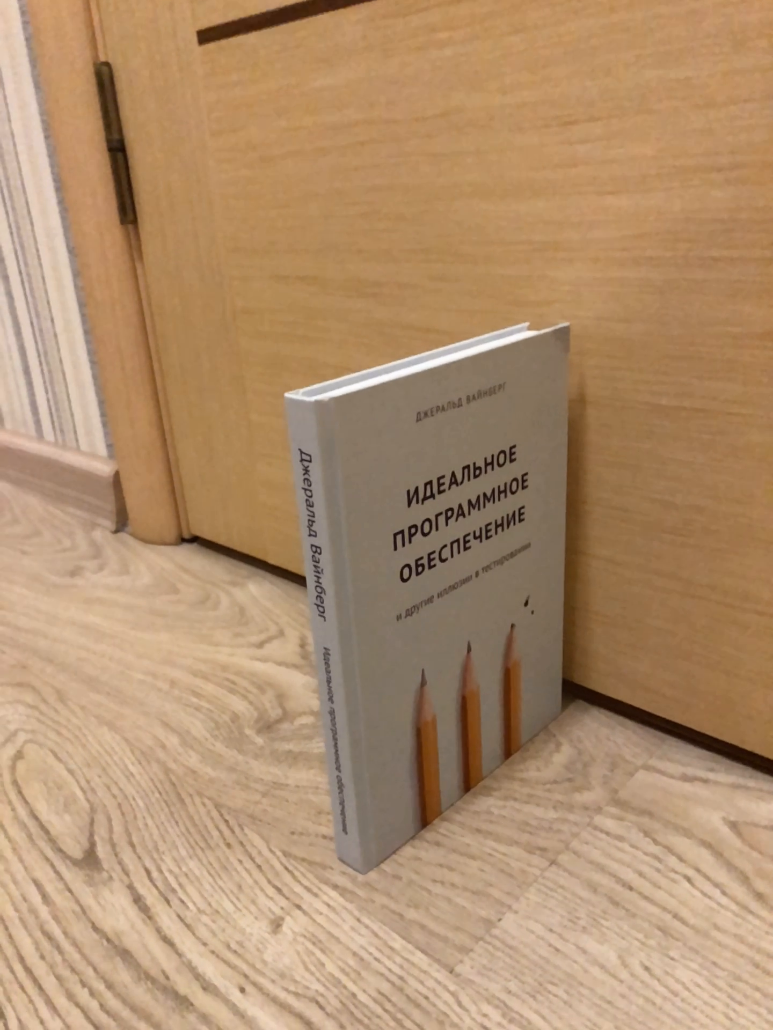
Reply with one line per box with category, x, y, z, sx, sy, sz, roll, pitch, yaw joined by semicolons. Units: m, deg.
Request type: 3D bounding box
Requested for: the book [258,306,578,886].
book;0.027;0.028;0.373;0.023;0.209;0.163;17;30;41
